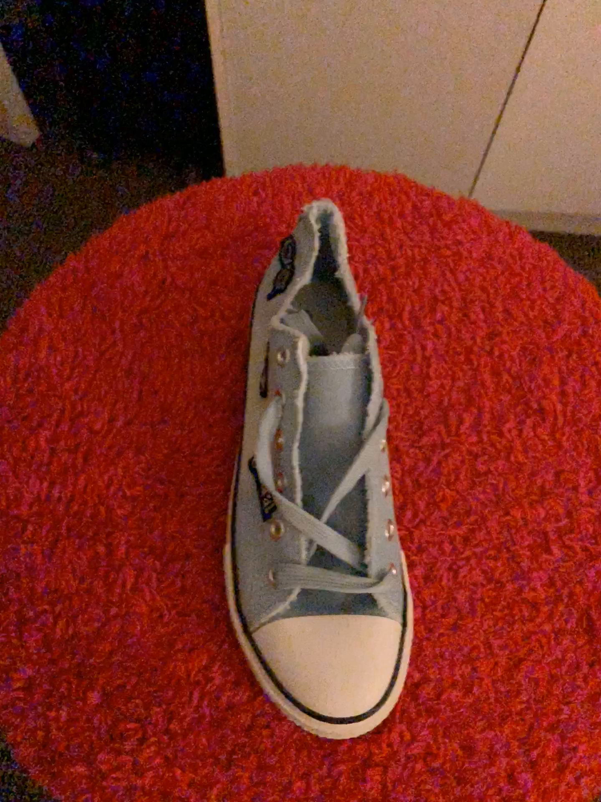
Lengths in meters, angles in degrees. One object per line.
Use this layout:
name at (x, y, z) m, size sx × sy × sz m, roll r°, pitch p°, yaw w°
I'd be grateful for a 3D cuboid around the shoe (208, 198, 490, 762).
shoe at (0.011, 0.027, 0.307) m, size 0.097 × 0.087 × 0.251 m, roll -1°, pitch 64°, yaw -2°
